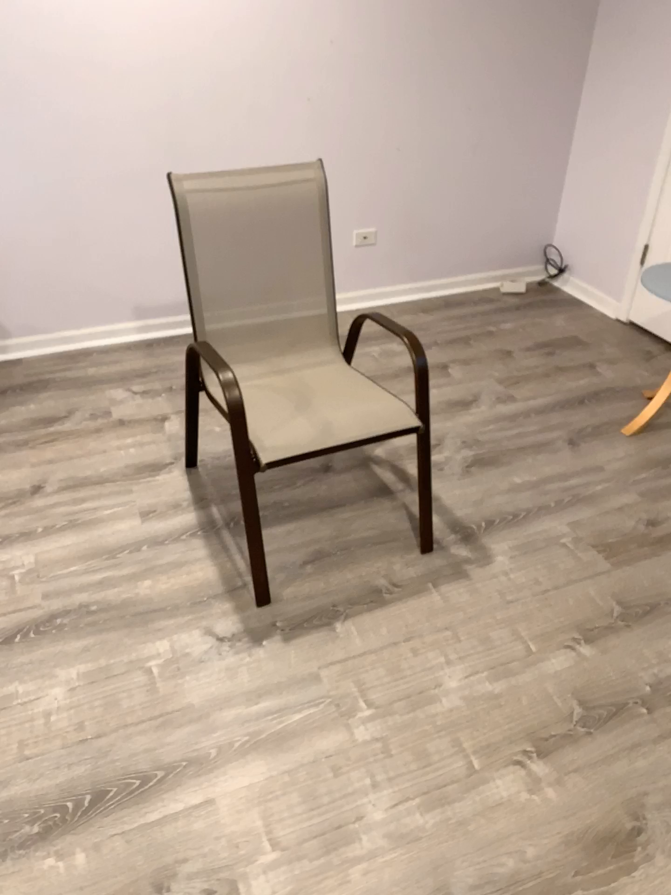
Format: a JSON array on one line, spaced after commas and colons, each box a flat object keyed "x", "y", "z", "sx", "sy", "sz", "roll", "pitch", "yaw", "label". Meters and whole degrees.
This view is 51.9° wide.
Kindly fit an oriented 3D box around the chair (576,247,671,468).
[{"x": 1.166, "y": -0.315, "z": 2.283, "sx": 0.425, "sy": 0.526, "sz": 0.437, "roll": -13, "pitch": 36, "yaw": -22, "label": "chair"}]

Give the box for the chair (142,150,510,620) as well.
[{"x": -0.075, "y": -0.206, "z": 1.755, "sx": 0.565, "sy": 0.873, "sz": 0.719, "roll": -13, "pitch": 36, "yaw": -22, "label": "chair"}]
